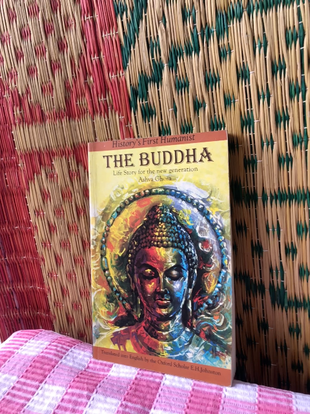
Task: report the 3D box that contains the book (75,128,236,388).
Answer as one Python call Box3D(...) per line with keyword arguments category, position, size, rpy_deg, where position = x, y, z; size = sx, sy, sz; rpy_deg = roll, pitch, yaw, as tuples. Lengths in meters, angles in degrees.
Box3D(category="book", position=(-0.003, 0.040, 0.317), size=(0.146, 0.207, 0.030), rpy_deg=(0, 0, 24))
